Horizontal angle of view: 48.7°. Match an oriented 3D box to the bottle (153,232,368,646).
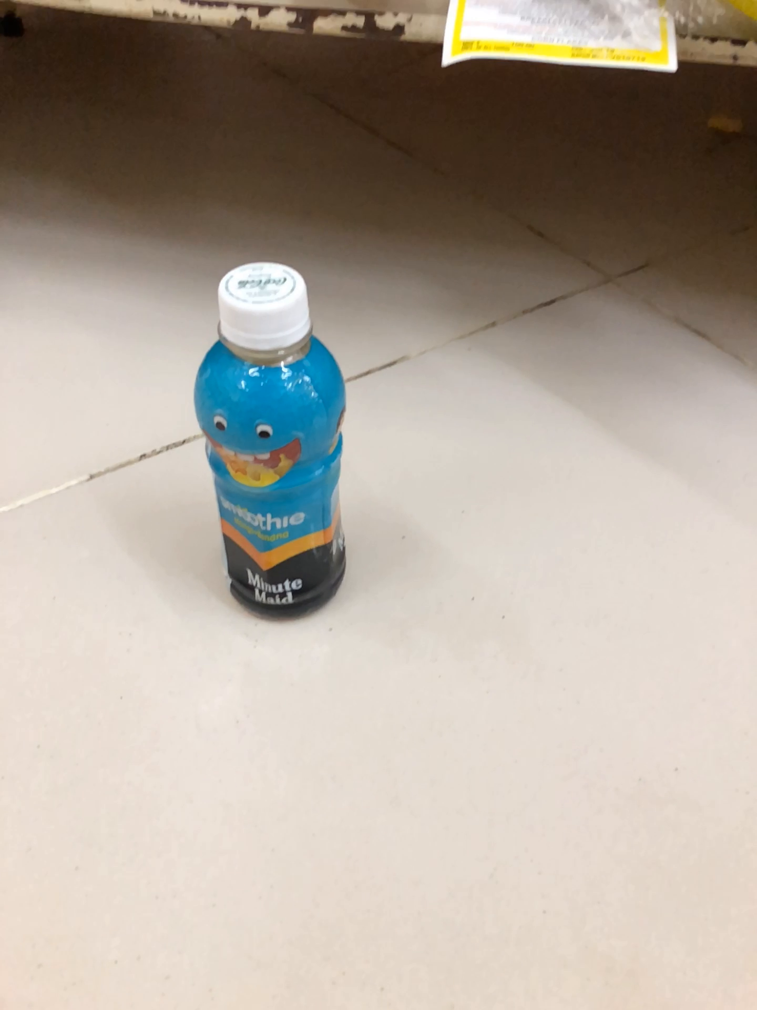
[{"bbox_3d":[-0.040,-0.019,0.339,0.060,0.159,0.060,1,44,-1],"label":"bottle"}]
